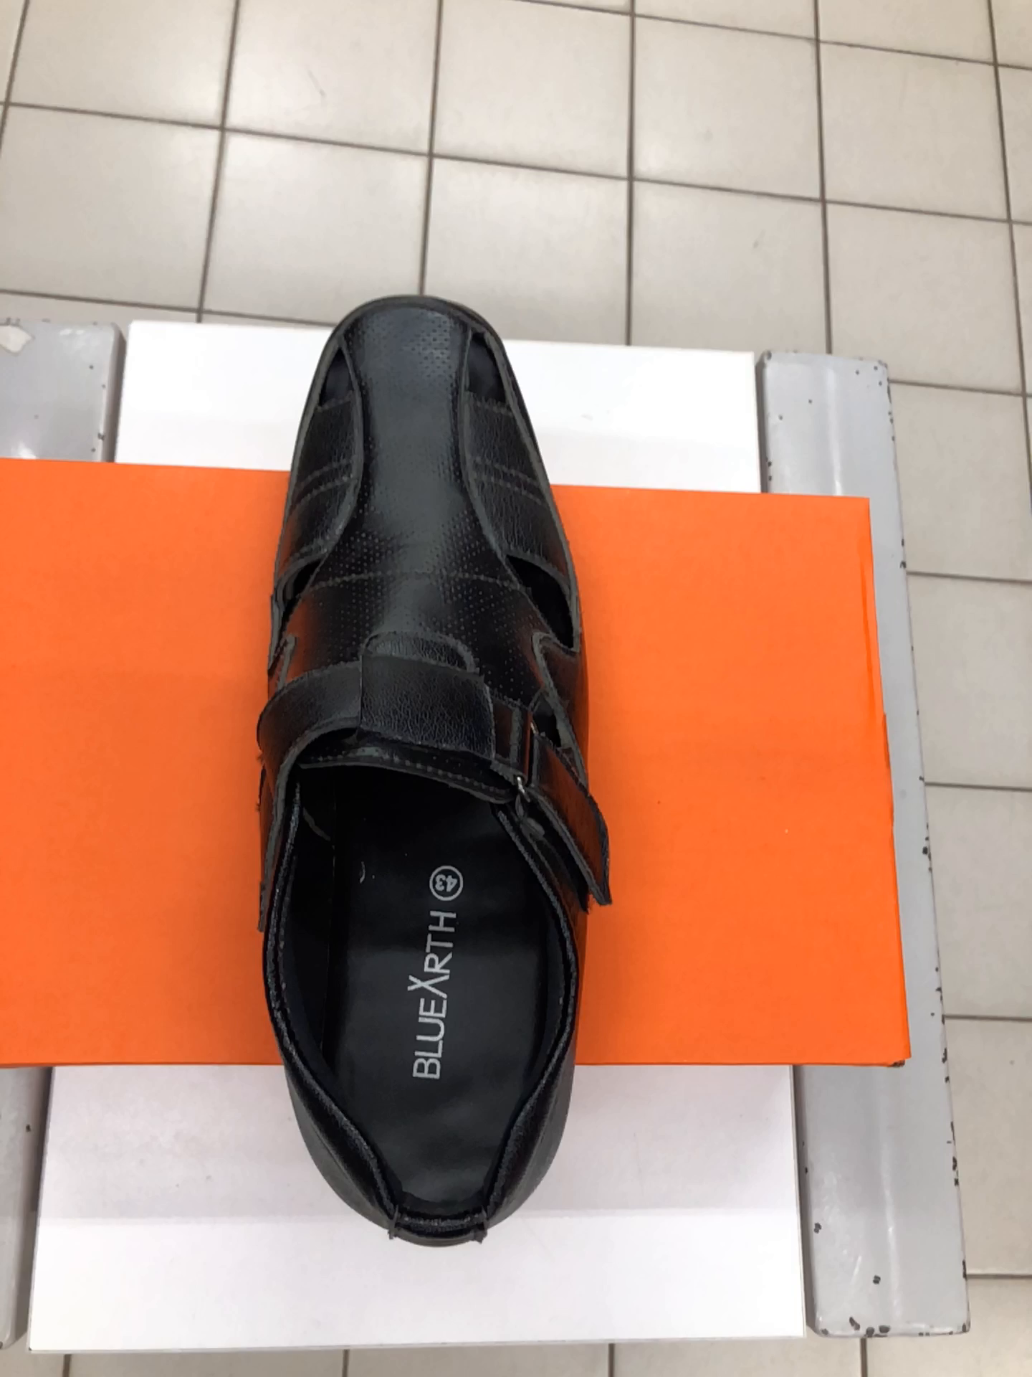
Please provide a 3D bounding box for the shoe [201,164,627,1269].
[{"bbox_3d":[-0.029,0.003,0.357,0.100,0.100,0.300,2,75,-7],"label":"shoe"}]
